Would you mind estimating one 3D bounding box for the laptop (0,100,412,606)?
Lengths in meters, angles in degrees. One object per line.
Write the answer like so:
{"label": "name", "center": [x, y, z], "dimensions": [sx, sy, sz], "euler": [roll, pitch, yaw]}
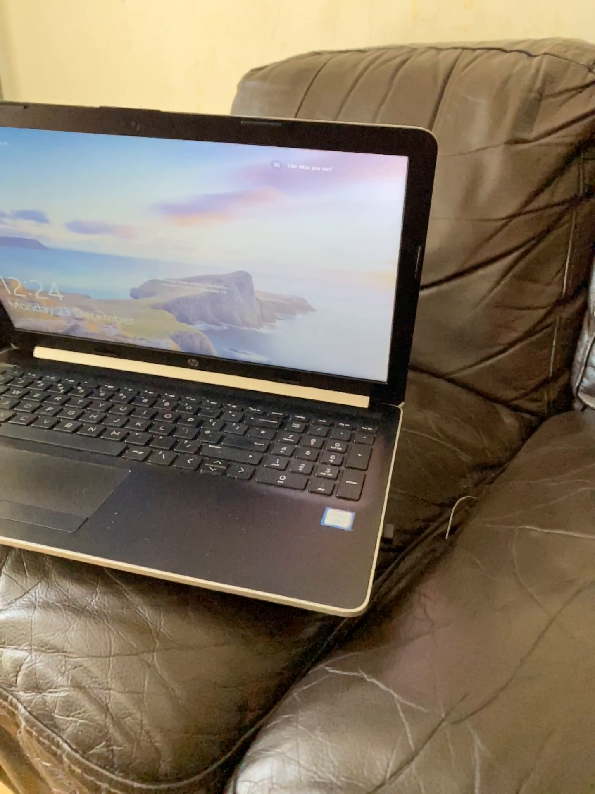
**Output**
{"label": "laptop", "center": [-0.124, -0.068, 0.408], "dimensions": [0.371, 0.212, 0.238], "euler": [8, 25, 12]}
